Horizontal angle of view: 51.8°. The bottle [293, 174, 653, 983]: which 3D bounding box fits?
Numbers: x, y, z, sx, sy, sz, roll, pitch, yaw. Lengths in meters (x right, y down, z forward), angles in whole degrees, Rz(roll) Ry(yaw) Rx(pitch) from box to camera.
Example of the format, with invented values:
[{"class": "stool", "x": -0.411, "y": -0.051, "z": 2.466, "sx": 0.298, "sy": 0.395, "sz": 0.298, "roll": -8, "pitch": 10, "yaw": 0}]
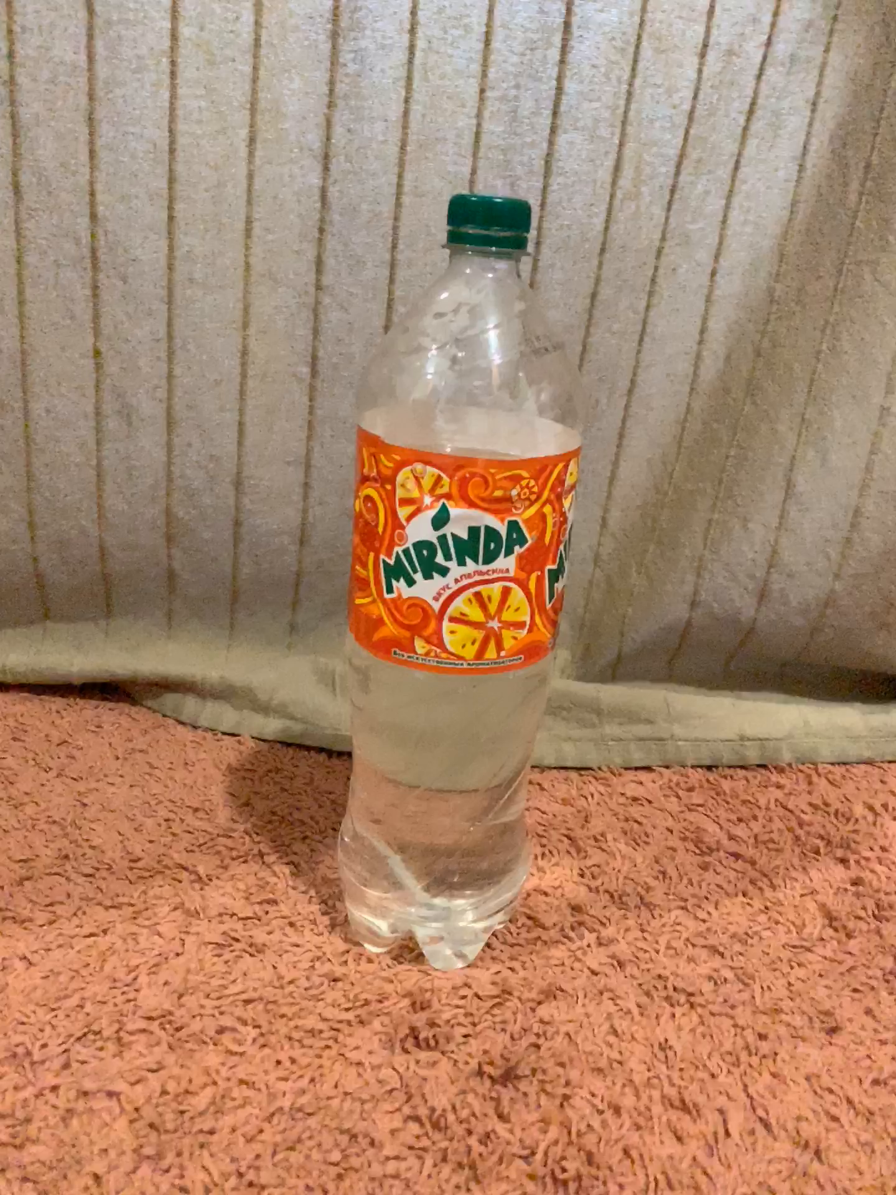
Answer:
[{"class": "bottle", "x": 0.001, "y": -0.003, "z": 0.379, "sx": 0.100, "sy": 0.298, "sz": 0.101, "roll": 5, "pitch": 20, "yaw": -2}]
